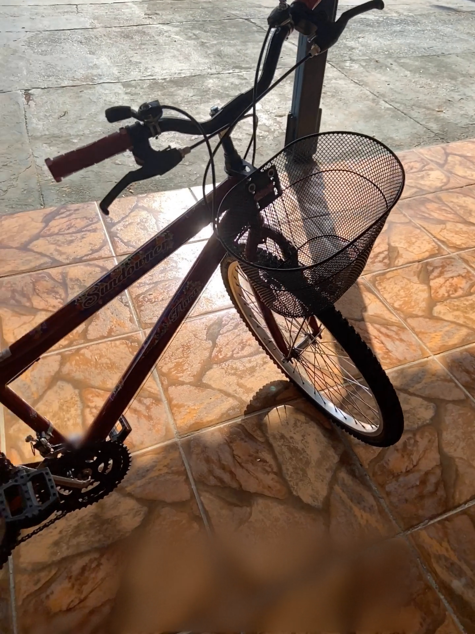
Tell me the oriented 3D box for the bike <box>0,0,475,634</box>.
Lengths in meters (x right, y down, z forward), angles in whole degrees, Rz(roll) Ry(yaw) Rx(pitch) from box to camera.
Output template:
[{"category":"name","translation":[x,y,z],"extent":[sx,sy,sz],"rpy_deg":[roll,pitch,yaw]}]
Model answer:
[{"category":"bike","translation":[-0.362,0.162,0.802],"extent":[1.409,1.080,0.552],"rpy_deg":[-13,47,-15]}]
